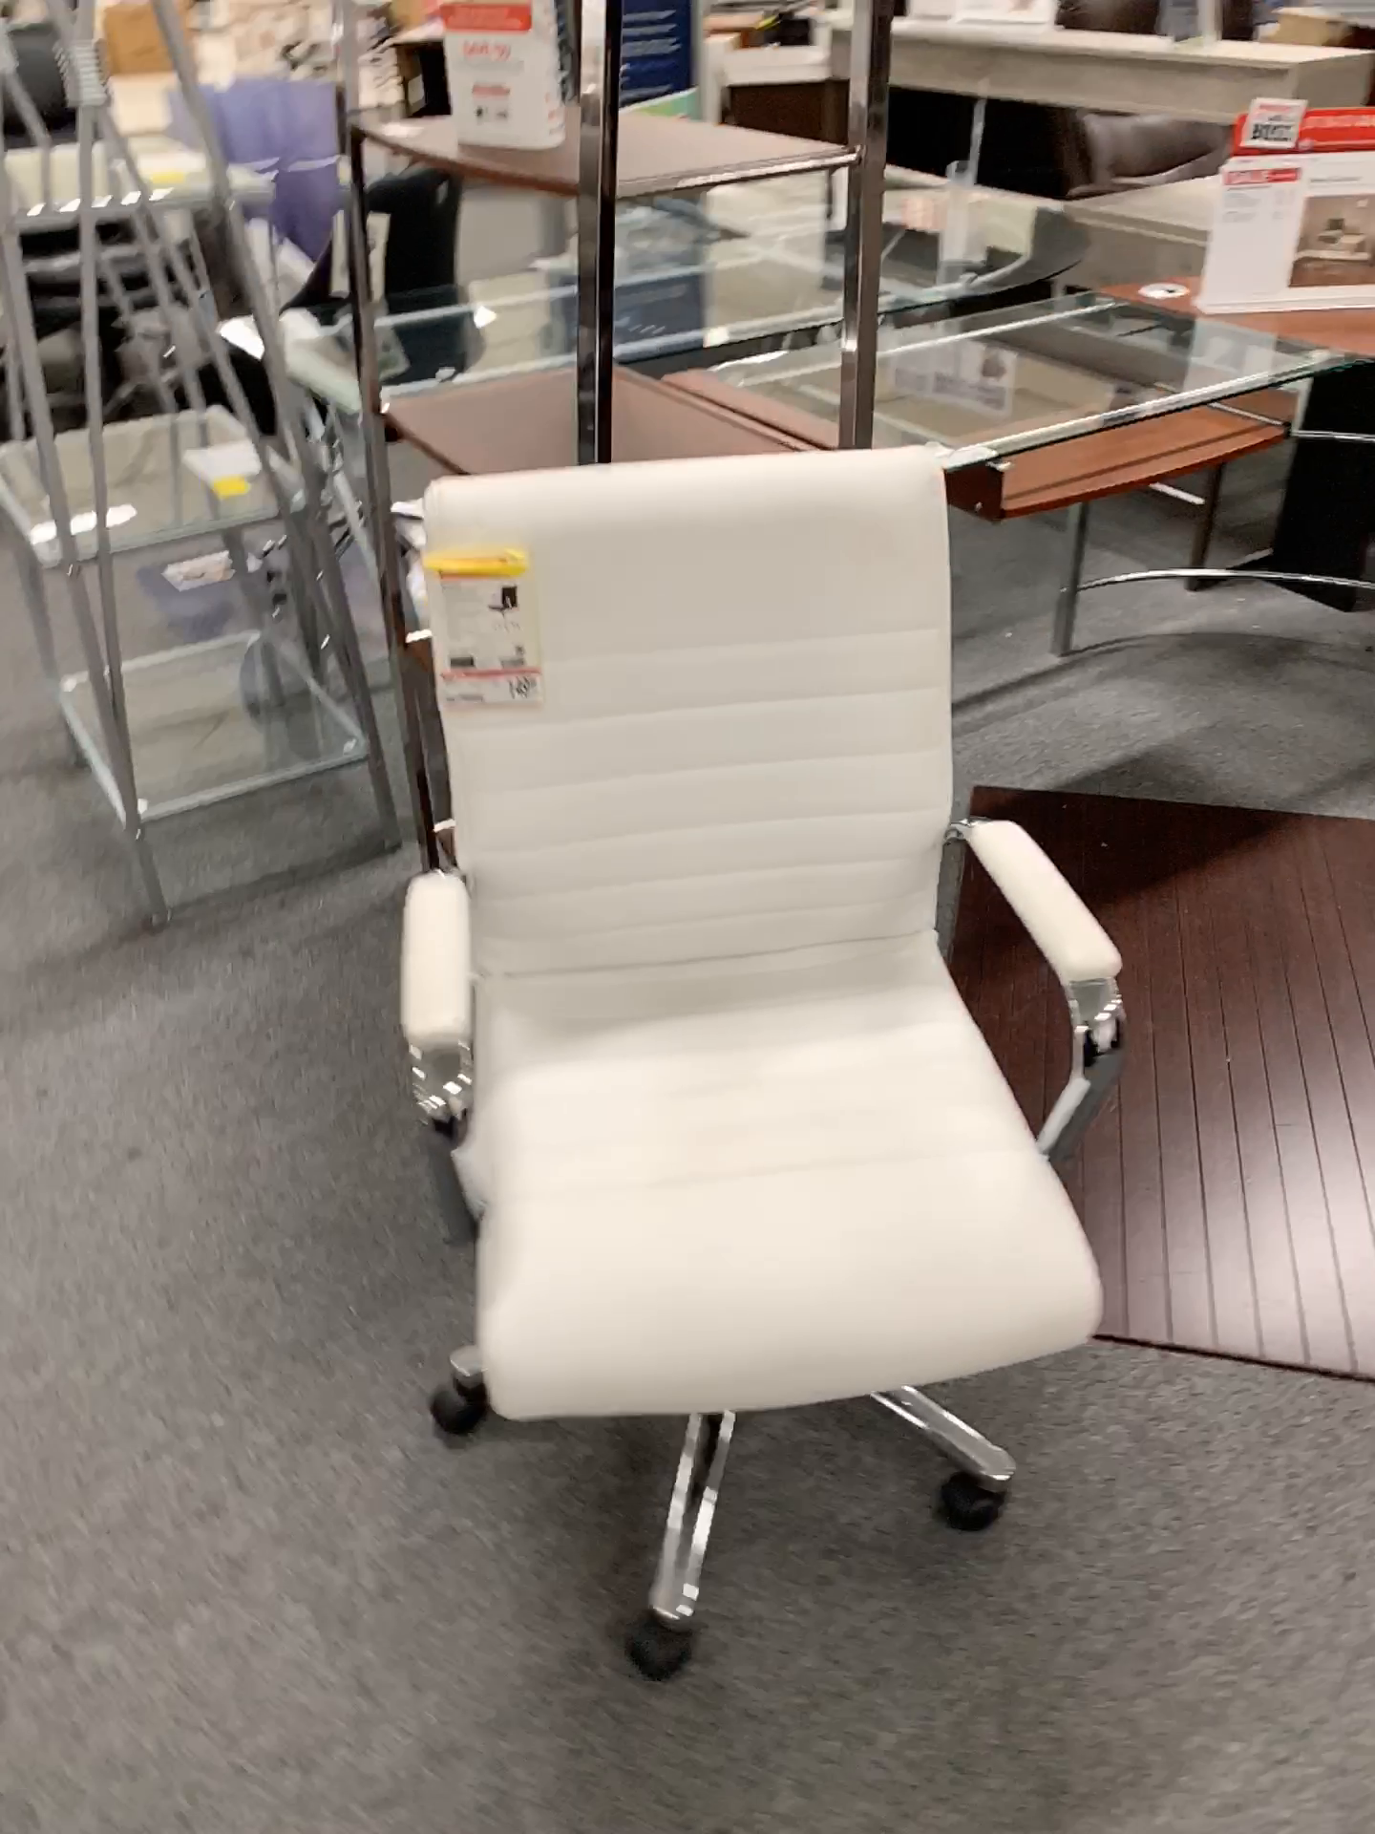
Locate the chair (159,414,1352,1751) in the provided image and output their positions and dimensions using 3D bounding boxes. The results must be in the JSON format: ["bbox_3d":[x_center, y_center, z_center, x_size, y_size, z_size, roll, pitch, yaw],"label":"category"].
[{"bbox_3d":[0.016,0.131,1.257,0.620,0.905,0.684,-6,36,-5],"label":"chair"}]
